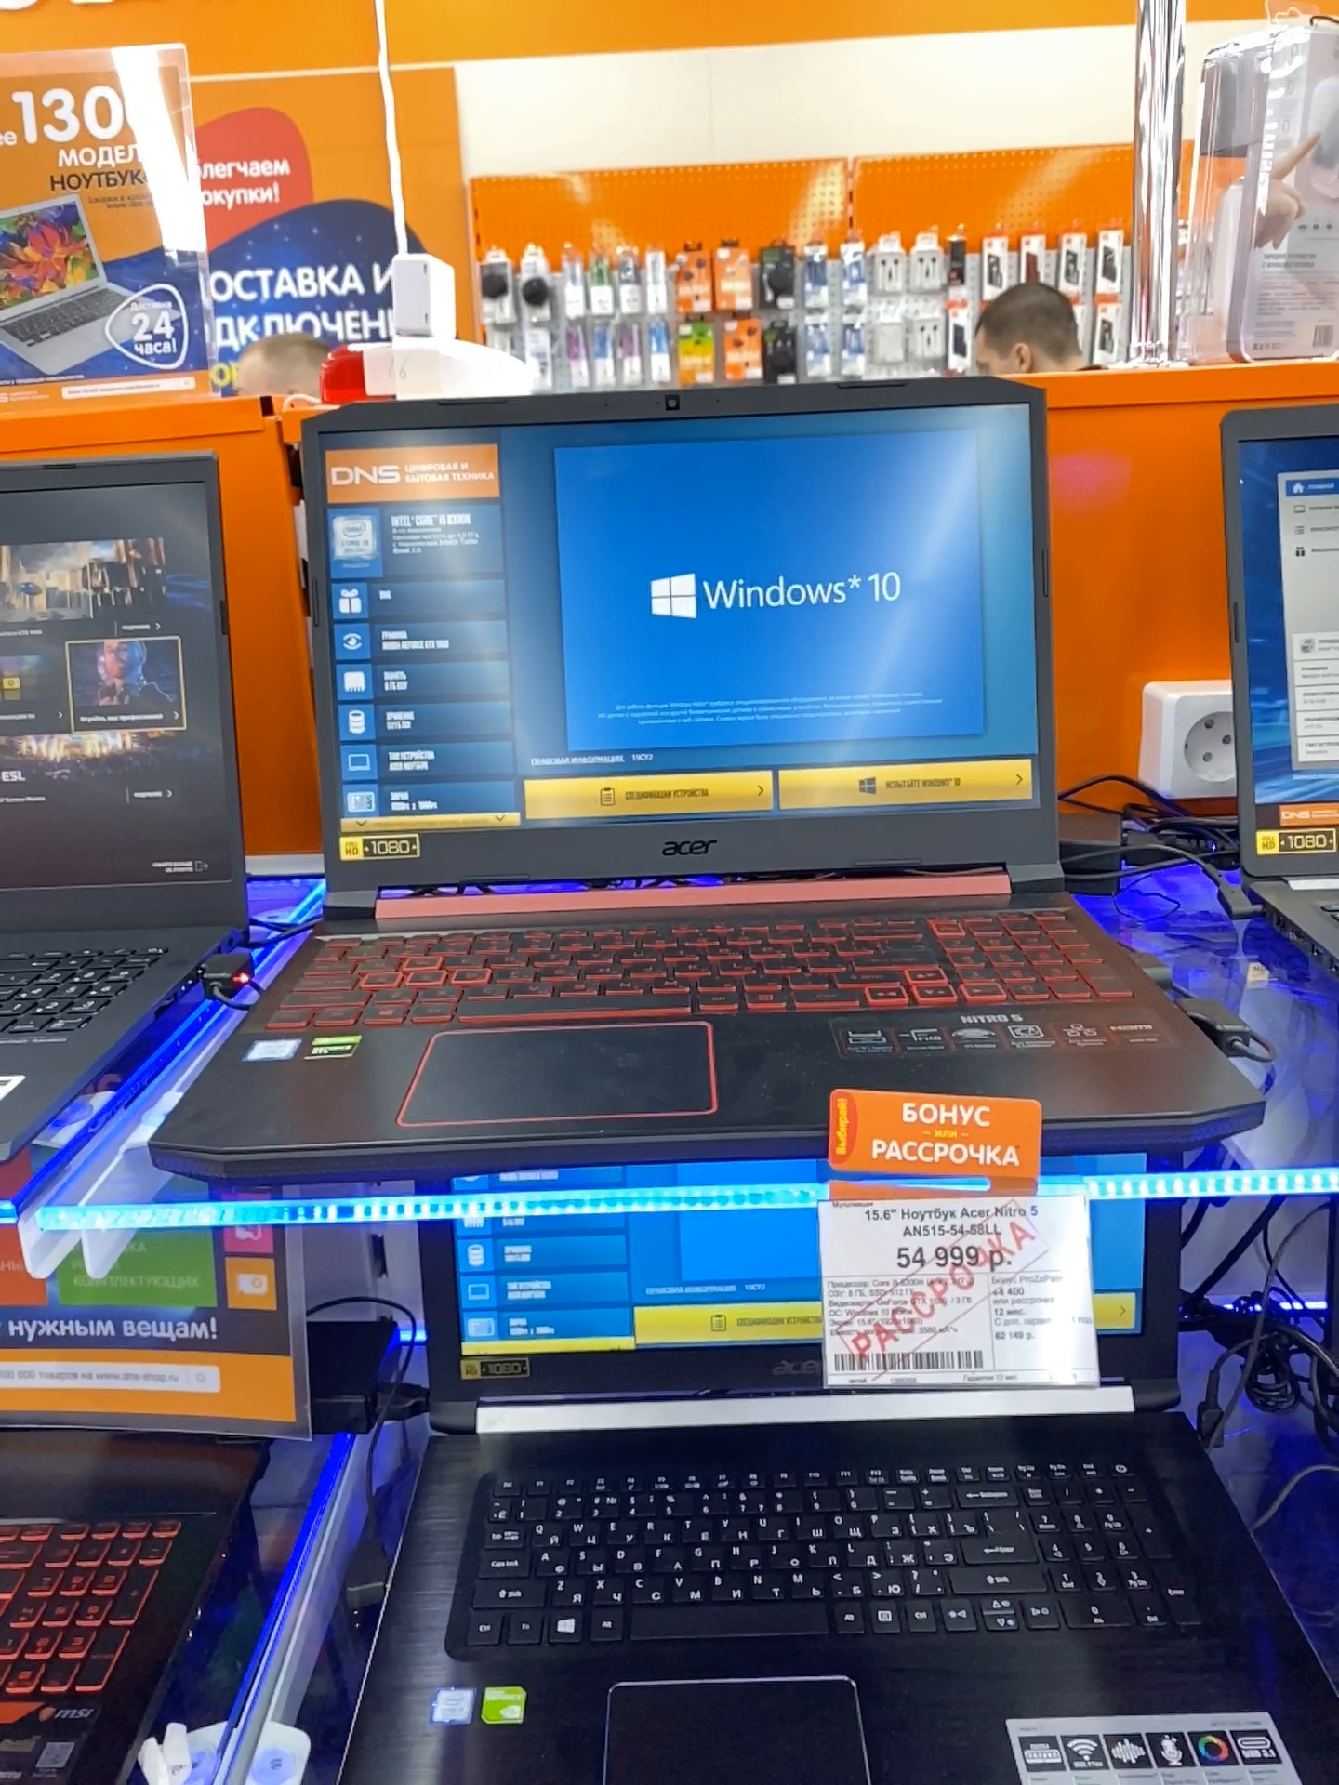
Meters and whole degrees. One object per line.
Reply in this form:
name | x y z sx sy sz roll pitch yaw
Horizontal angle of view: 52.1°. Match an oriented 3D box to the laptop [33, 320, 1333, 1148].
laptop | 0.009 -0.081 0.556 0.360 0.237 0.303 -2 16 0
